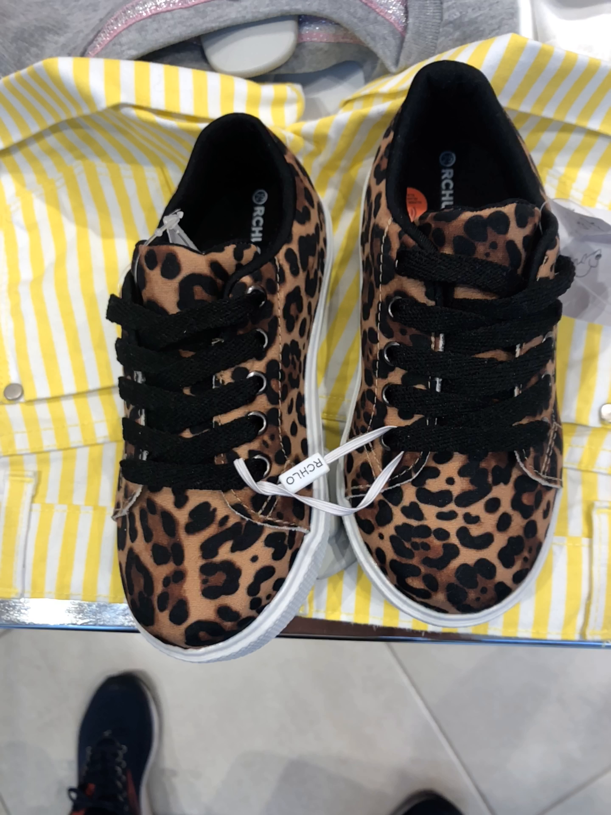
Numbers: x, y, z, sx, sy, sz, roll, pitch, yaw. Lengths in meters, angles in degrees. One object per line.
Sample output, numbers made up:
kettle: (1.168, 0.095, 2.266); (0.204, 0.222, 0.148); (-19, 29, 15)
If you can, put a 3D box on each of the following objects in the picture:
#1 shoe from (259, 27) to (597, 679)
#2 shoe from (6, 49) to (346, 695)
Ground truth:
shoe: (0.036, -0.016, 0.220); (0.080, 0.080, 0.170); (3, 84, 4)
shoe: (-0.039, -0.009, 0.224); (0.080, 0.060, 0.170); (-2, 83, 31)
